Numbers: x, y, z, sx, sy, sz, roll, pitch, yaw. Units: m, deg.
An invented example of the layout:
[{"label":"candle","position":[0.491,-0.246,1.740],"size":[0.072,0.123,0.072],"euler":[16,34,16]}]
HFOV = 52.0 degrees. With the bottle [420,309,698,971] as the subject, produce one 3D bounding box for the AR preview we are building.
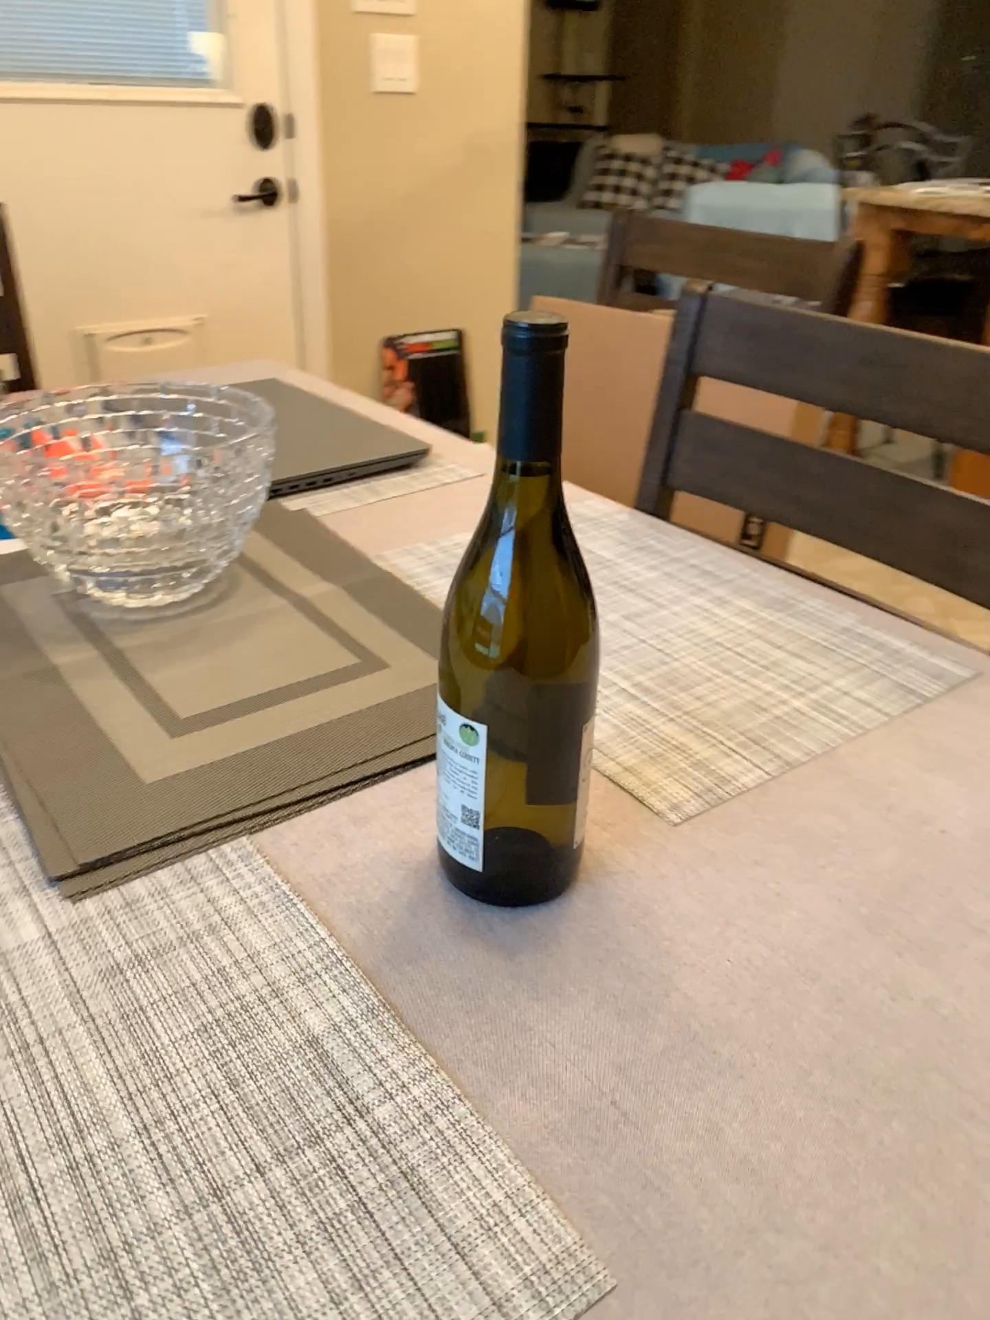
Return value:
[{"label":"bottle","position":[0.018,-0.003,0.472],"size":[0.080,0.288,0.090],"euler":[-9,31,-20]}]
